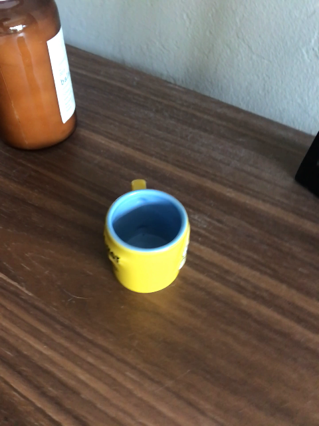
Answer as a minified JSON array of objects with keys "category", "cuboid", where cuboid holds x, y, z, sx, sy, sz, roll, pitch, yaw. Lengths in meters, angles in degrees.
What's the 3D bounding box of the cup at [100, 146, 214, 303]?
[{"category":"cup","cuboid":[-0.007,0.006,0.256,0.060,0.060,0.090,-8,53,-9]}]
